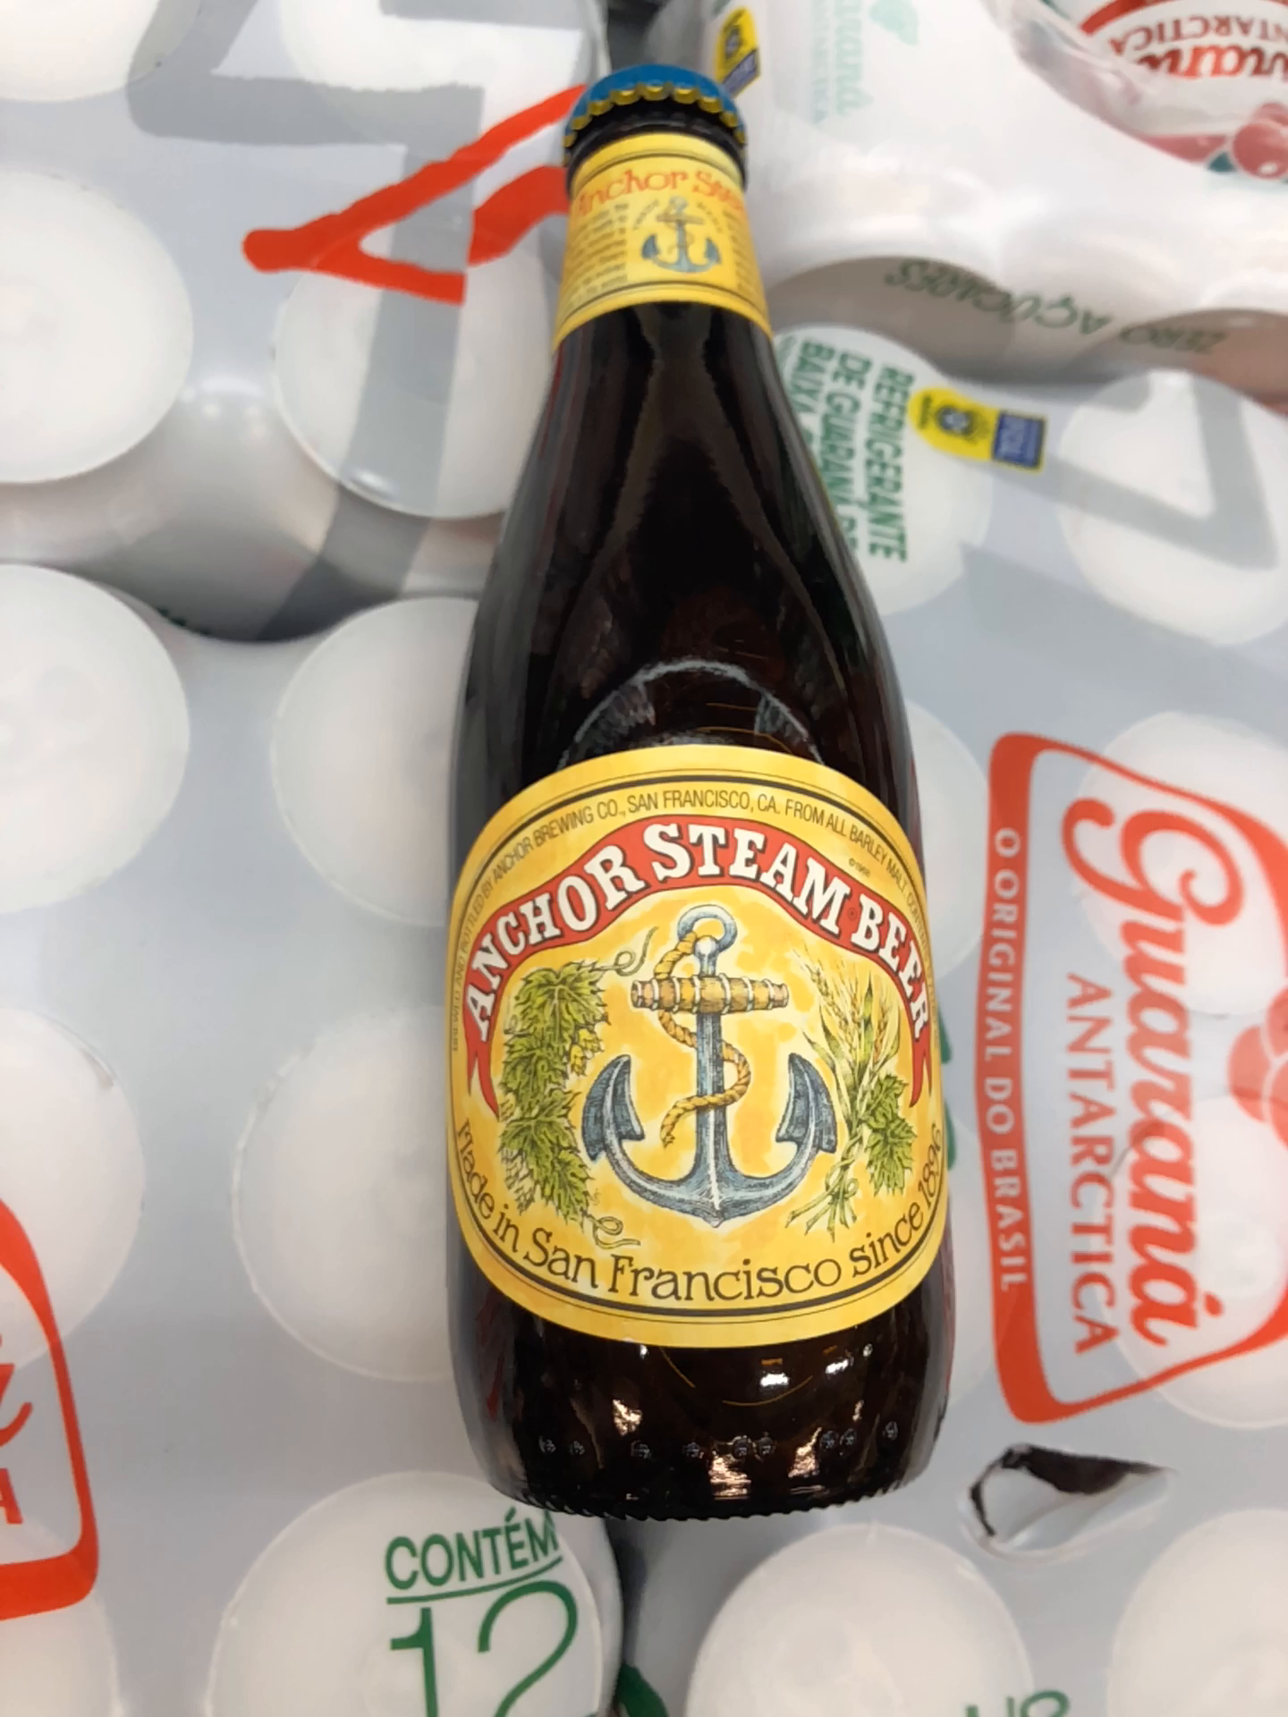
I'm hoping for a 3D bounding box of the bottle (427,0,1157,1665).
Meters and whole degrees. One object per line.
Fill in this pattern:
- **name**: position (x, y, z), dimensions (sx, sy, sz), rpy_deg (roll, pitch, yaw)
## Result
- **bottle**: position (0.010, -0.026, 0.195), dimensions (0.070, 0.060, 0.220), rpy_deg (-1, 80, -11)
